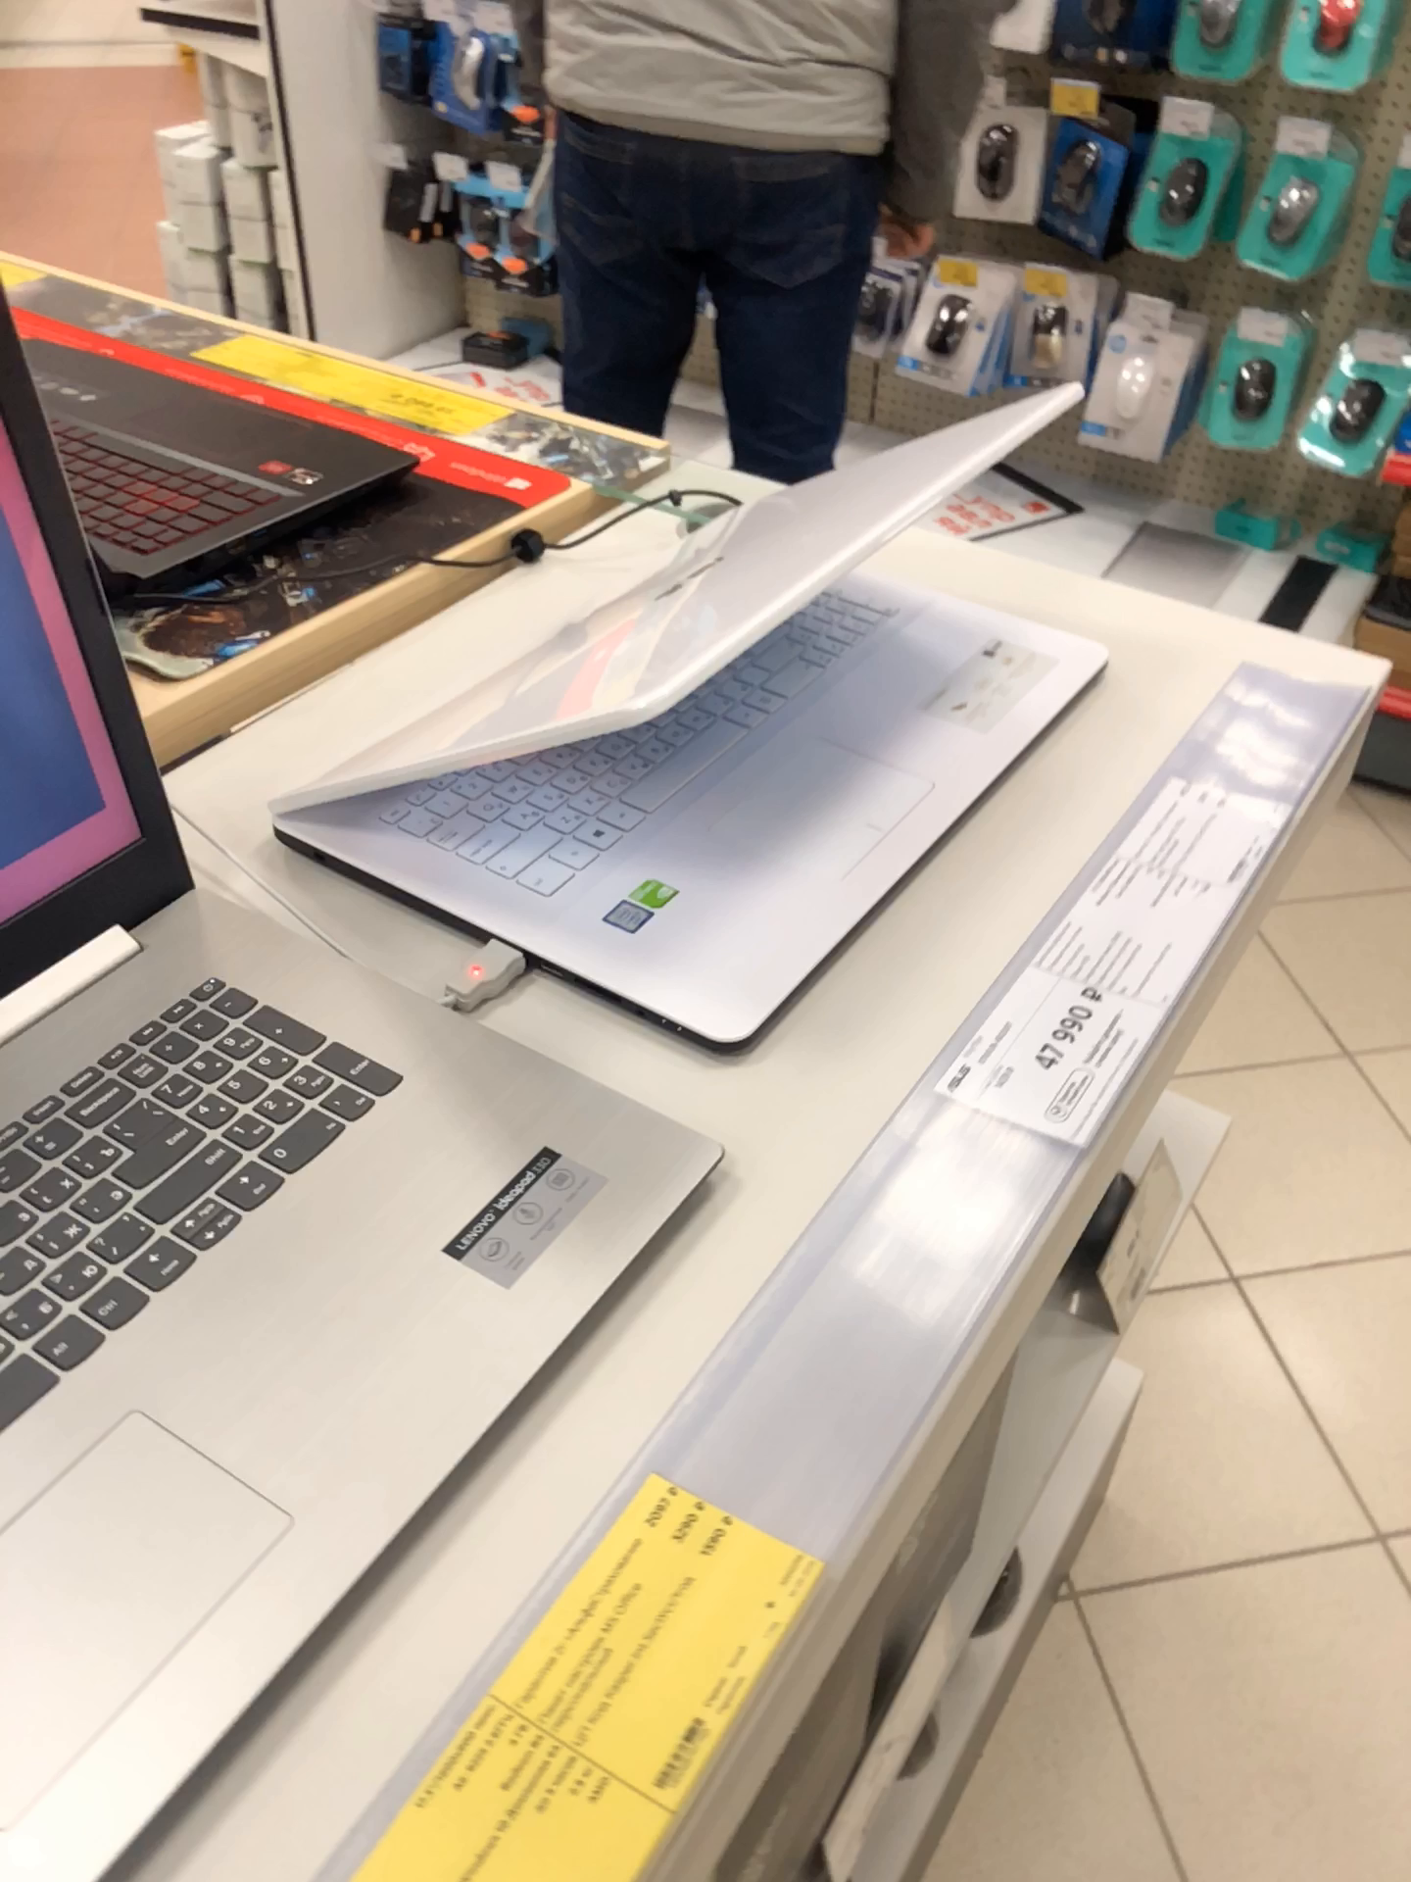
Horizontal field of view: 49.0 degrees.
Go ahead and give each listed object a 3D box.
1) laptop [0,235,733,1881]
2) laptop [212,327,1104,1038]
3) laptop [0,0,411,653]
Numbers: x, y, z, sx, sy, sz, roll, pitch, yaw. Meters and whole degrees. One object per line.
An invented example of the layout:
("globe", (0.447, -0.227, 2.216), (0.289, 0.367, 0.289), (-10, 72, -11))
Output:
("laptop", (-0.253, 0.022, 0.398), (0.337, 0.262, 0.393), (21, 42, 22))
("laptop", (0.001, -0.162, 0.768), (0.257, 0.142, 0.392), (22, 41, 22))
("laptop", (-0.475, -0.390, 0.902), (0.377, 0.220, 0.367), (29, 46, 25))
